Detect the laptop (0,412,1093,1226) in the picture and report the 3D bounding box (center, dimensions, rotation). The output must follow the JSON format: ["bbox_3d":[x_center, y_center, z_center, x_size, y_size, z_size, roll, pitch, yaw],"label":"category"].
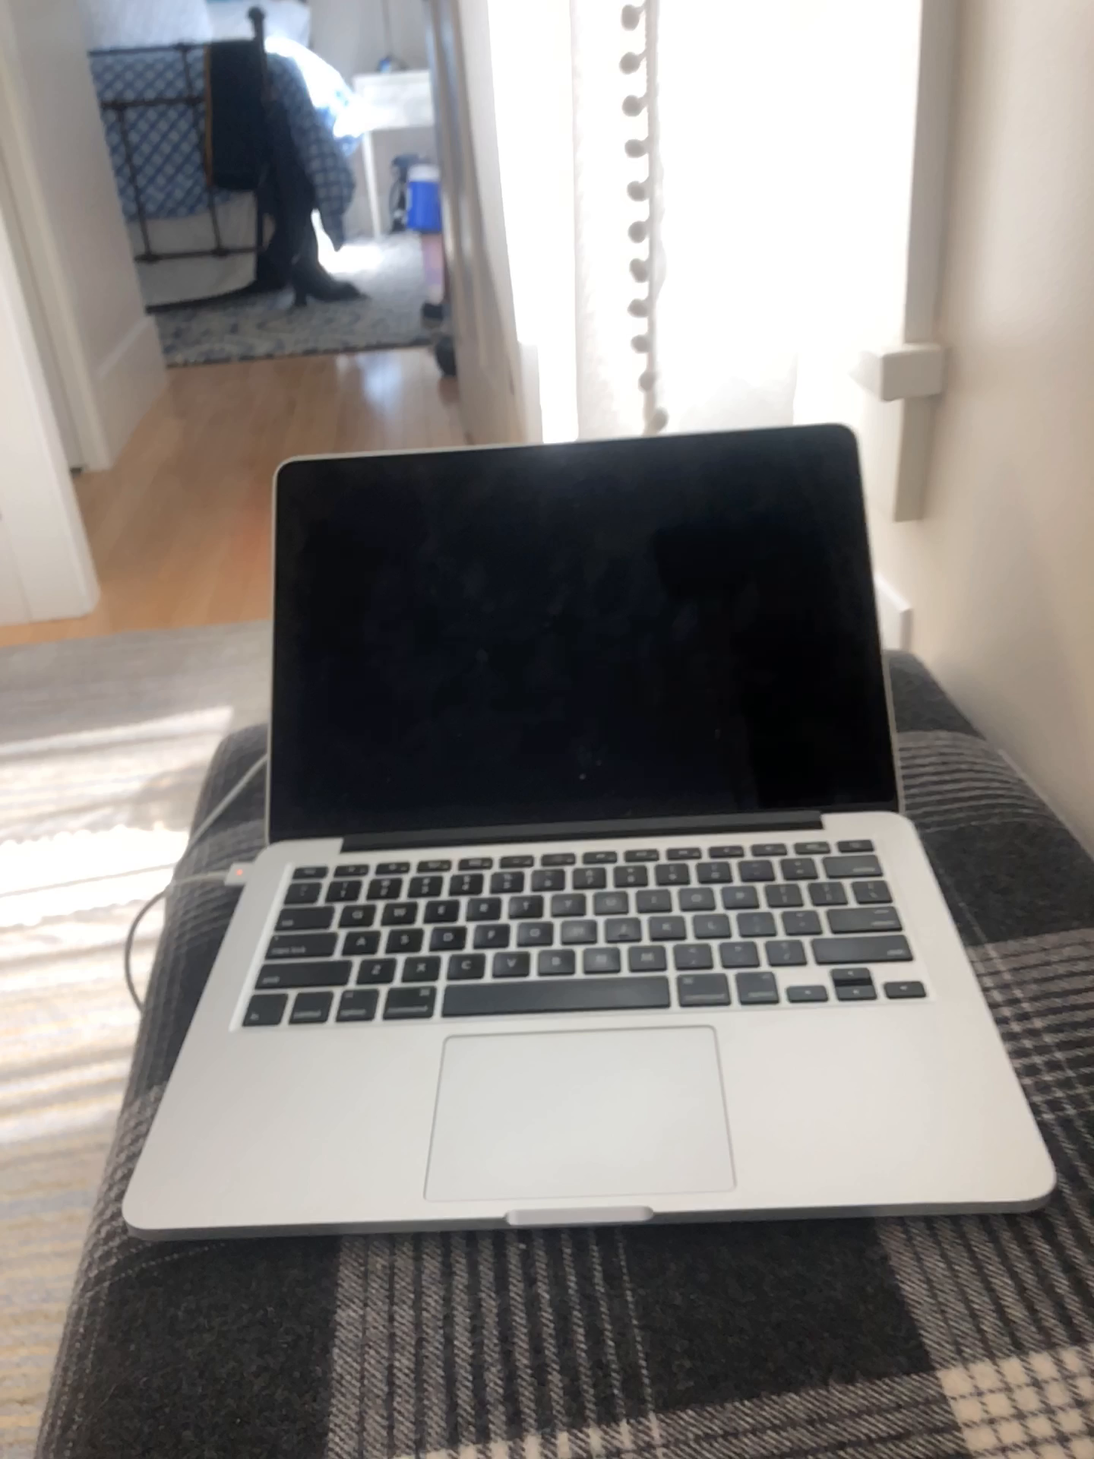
[{"bbox_3d":[0.012,-0.001,0.517,0.306,0.142,0.368,-3,30,4],"label":"laptop"}]
